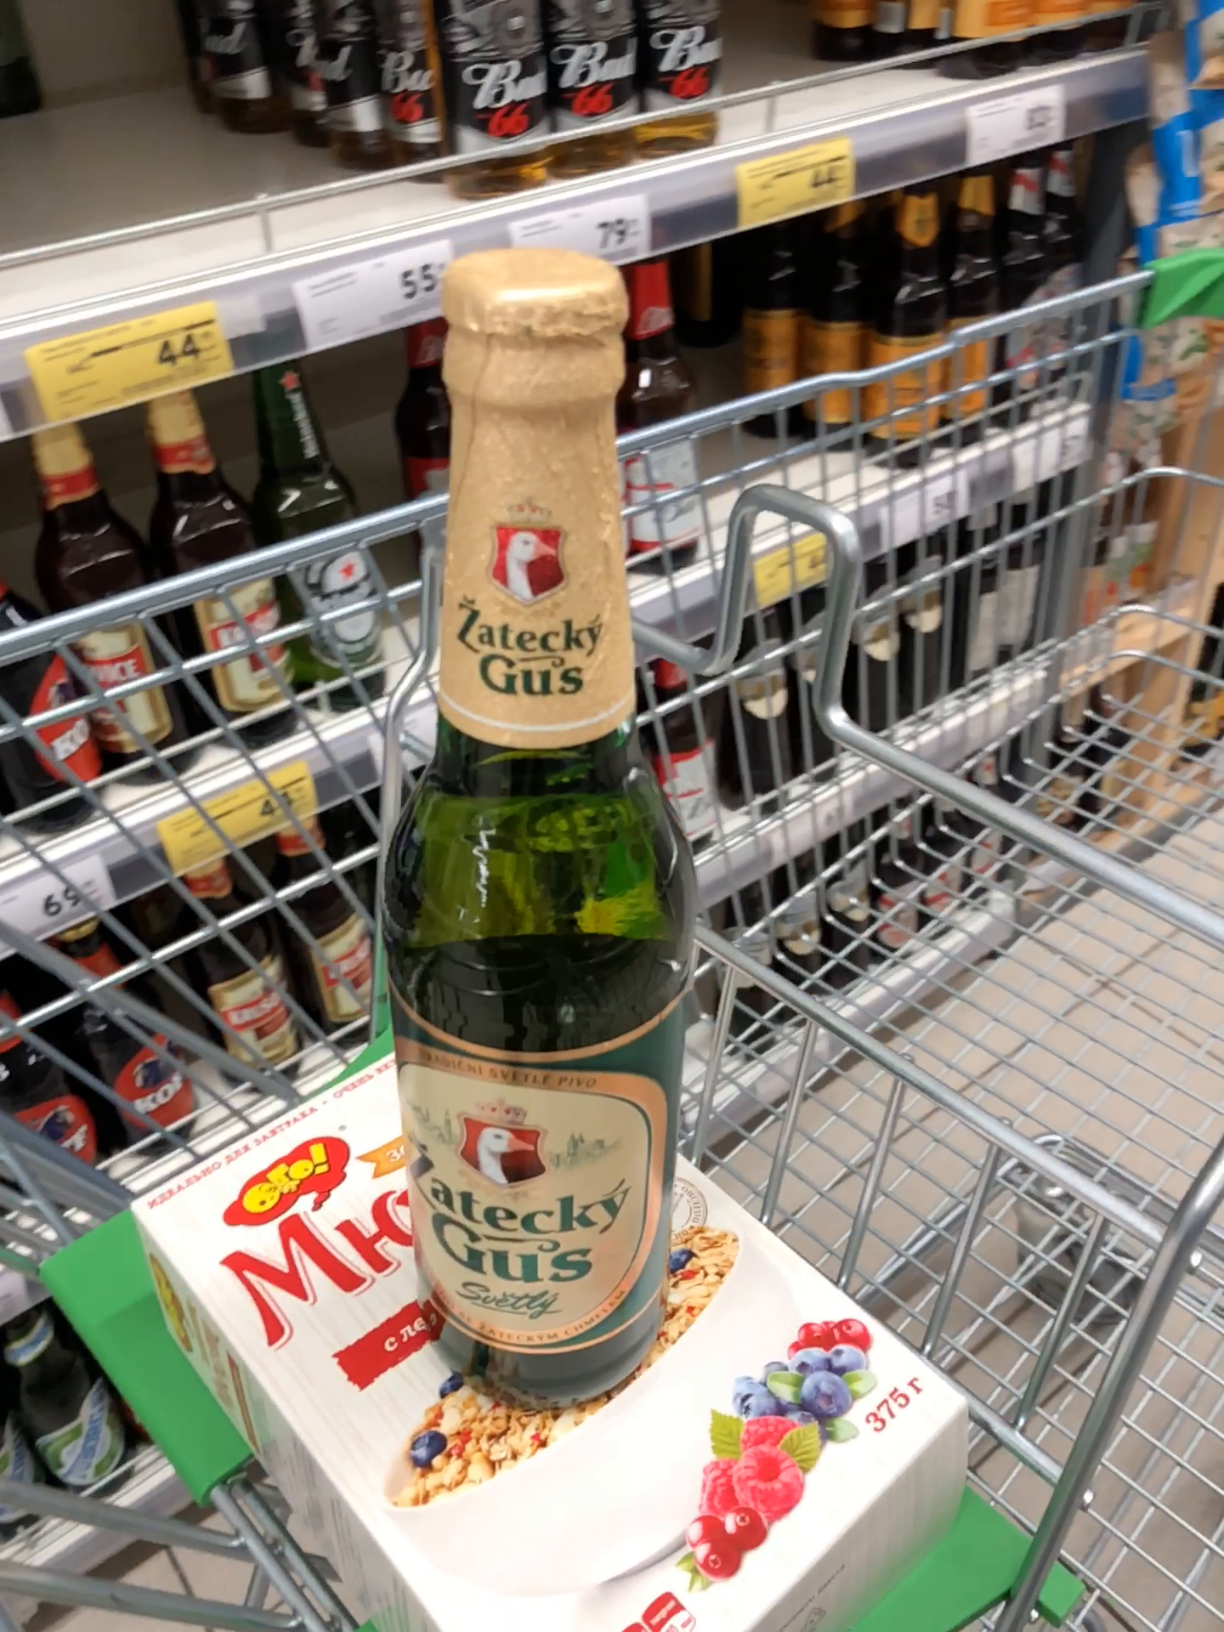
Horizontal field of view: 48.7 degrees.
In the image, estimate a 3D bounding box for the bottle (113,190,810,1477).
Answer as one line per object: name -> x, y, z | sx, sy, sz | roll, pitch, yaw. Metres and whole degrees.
bottle -> -0.013, 0.025, 0.279 | 0.080, 0.268, 0.070 | 10, 40, 16
